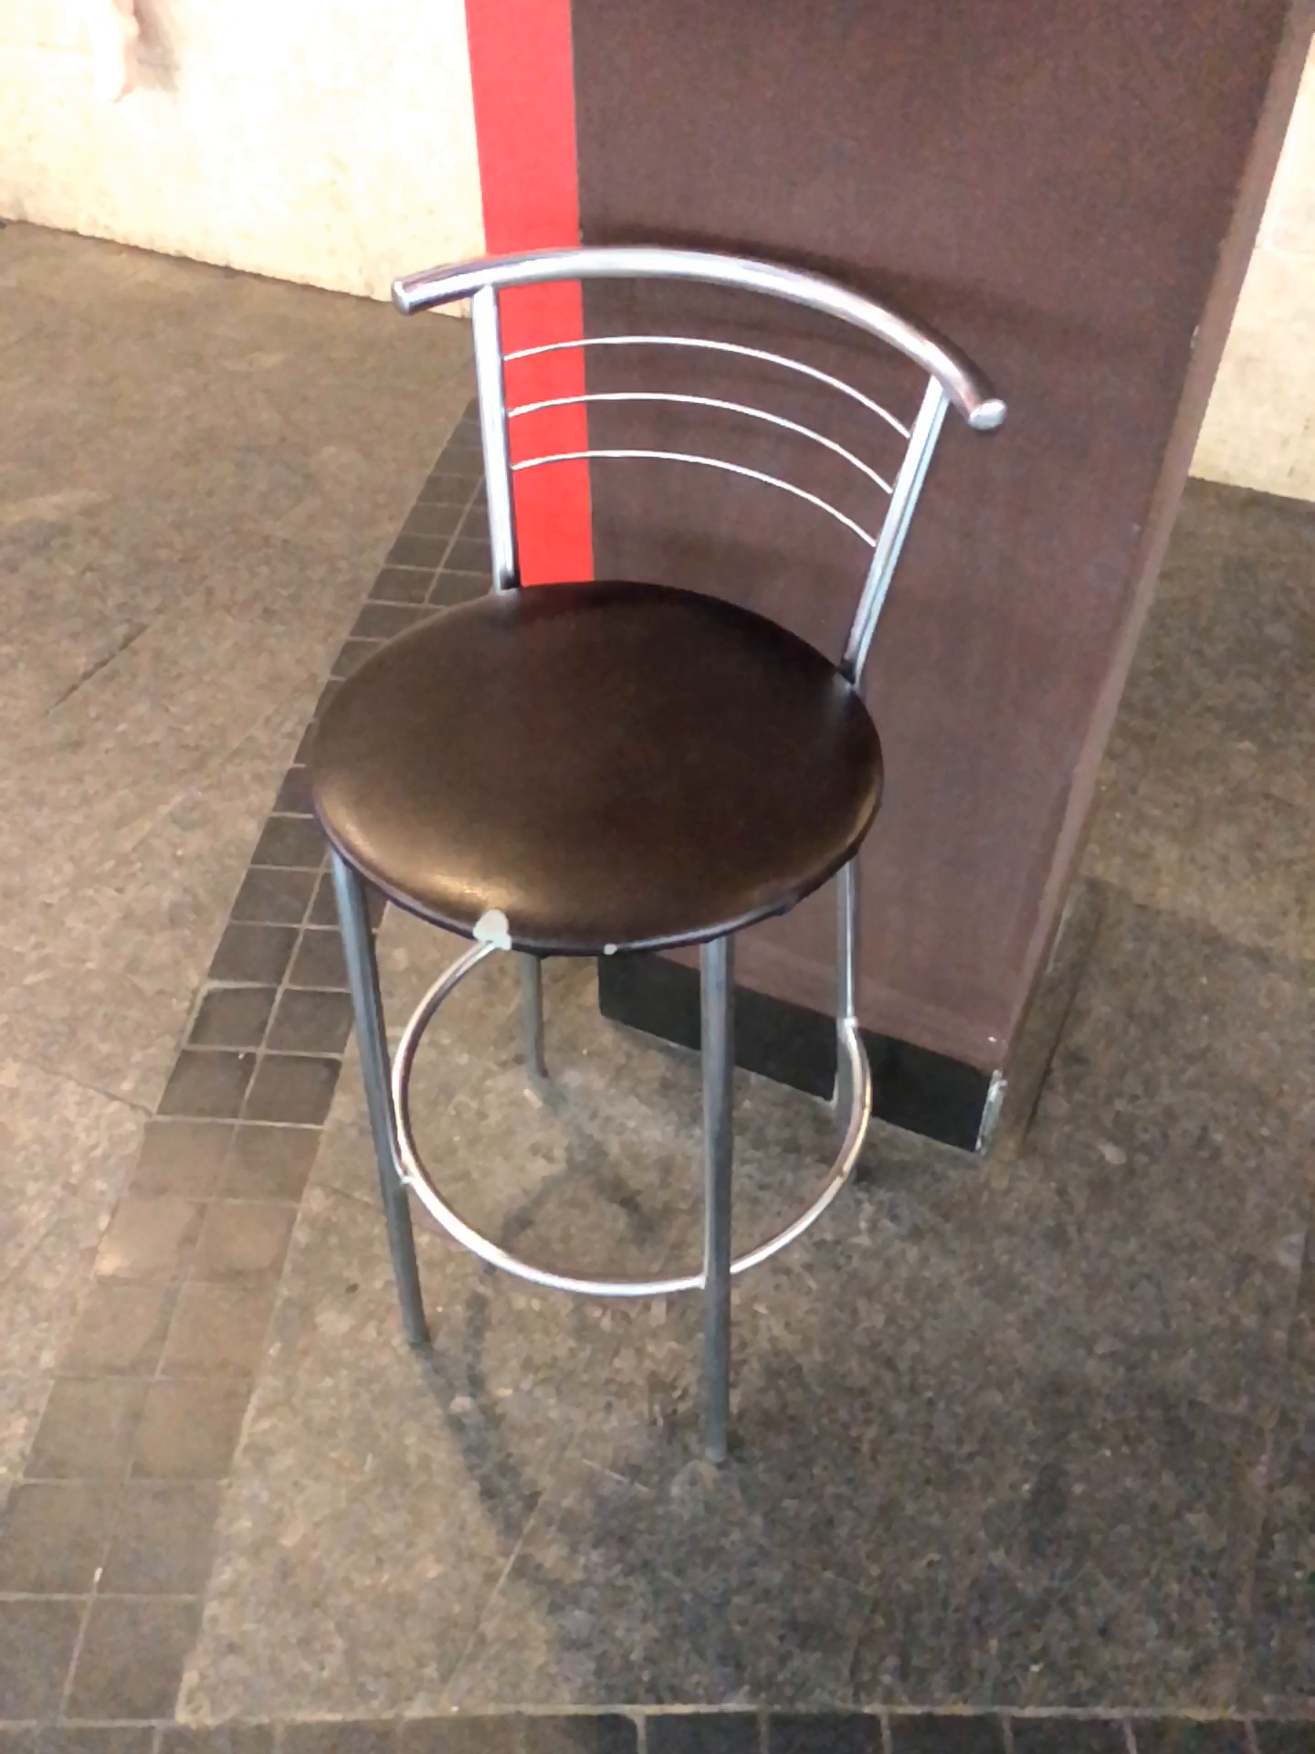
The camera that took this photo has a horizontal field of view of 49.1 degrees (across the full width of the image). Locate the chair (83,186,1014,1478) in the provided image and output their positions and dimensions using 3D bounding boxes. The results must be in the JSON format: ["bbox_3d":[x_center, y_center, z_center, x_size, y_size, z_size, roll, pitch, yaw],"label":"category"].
[{"bbox_3d":[-0.037,0.027,1.166,0.410,0.936,0.411,15,47,14],"label":"chair"}]
